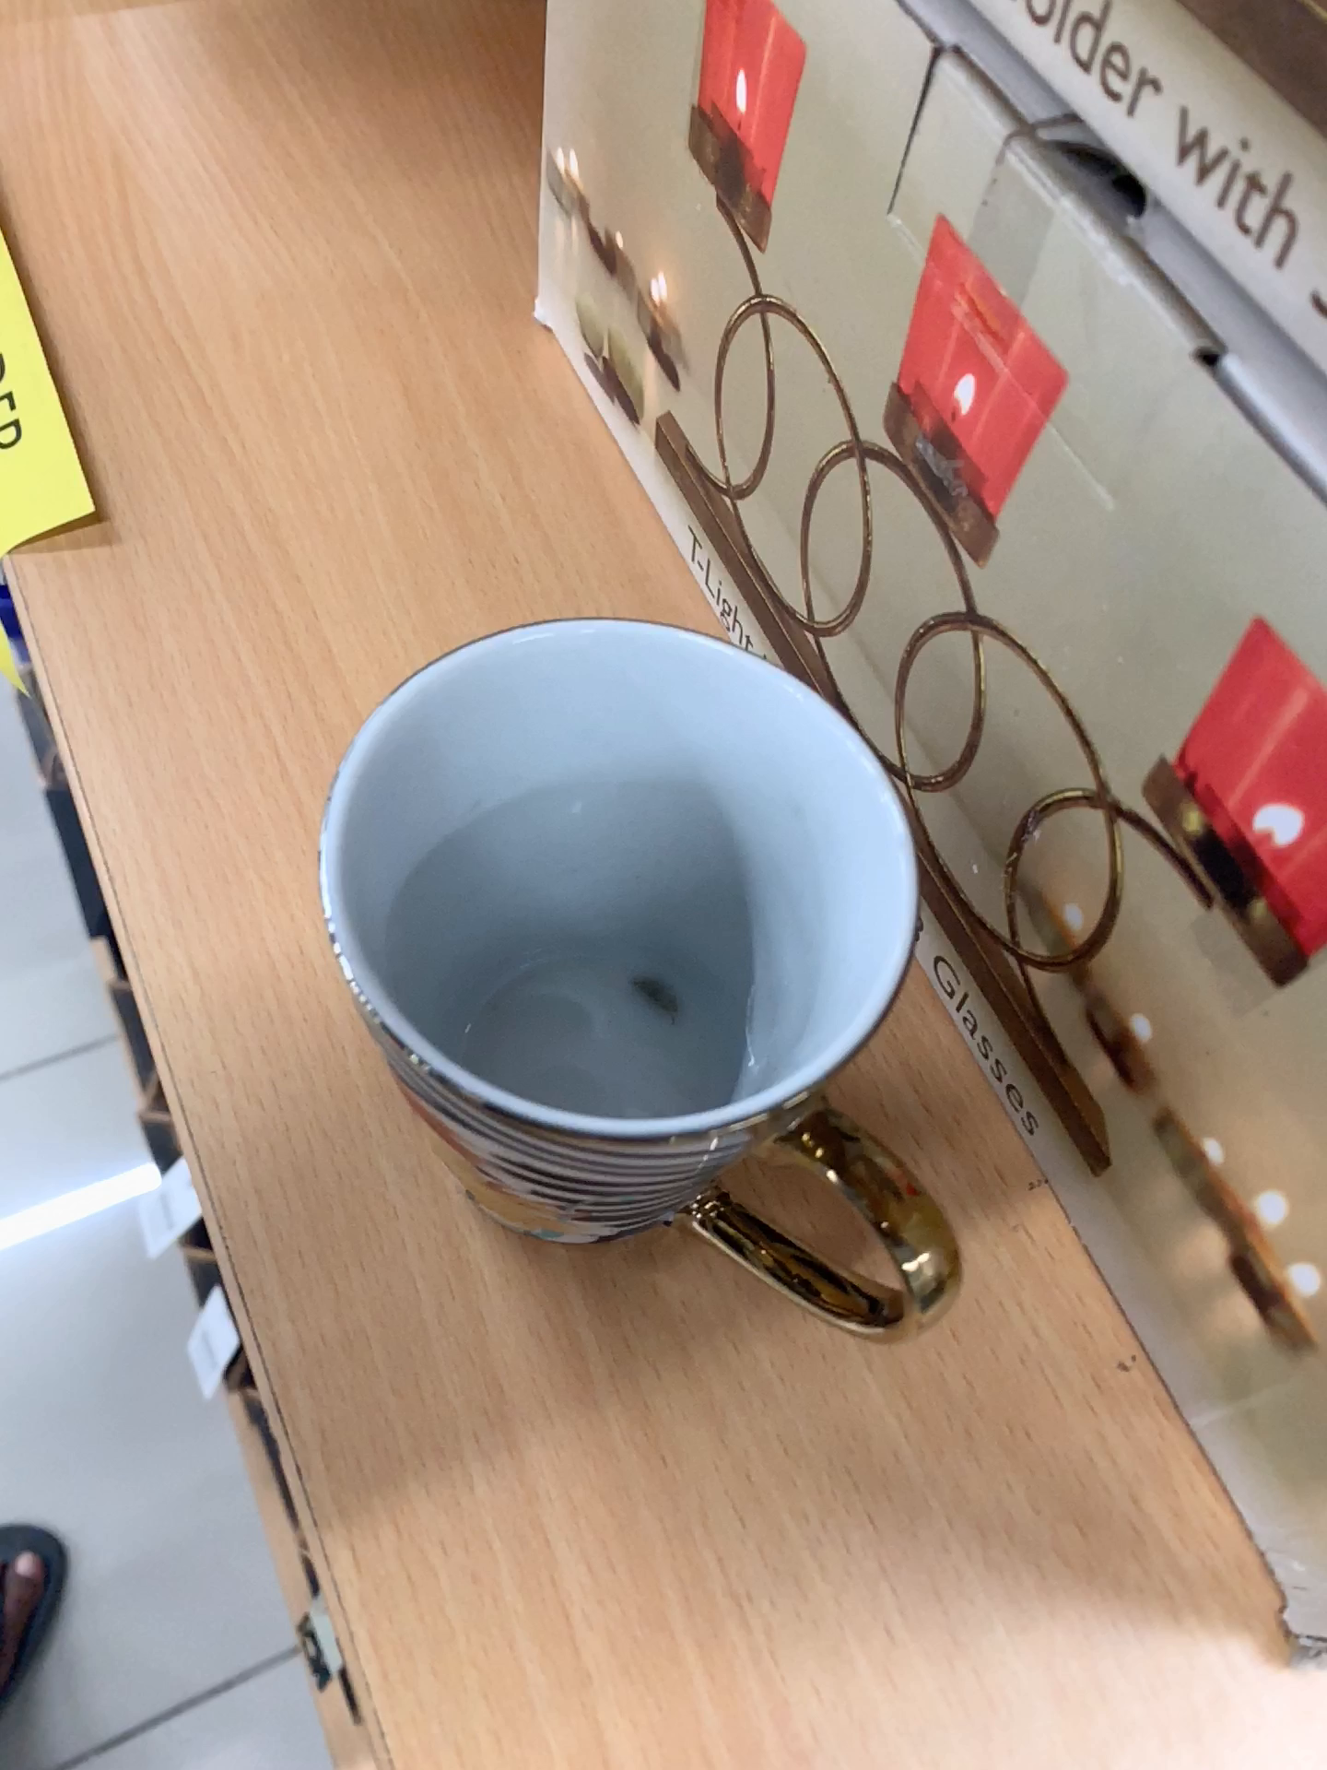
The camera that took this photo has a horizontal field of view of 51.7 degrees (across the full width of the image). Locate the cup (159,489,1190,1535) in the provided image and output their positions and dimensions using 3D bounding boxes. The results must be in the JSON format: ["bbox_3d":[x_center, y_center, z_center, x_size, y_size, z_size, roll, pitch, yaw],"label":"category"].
[{"bbox_3d":[-0.005,0.020,0.189,0.070,0.080,0.100,-33,71,-24],"label":"cup"}]
